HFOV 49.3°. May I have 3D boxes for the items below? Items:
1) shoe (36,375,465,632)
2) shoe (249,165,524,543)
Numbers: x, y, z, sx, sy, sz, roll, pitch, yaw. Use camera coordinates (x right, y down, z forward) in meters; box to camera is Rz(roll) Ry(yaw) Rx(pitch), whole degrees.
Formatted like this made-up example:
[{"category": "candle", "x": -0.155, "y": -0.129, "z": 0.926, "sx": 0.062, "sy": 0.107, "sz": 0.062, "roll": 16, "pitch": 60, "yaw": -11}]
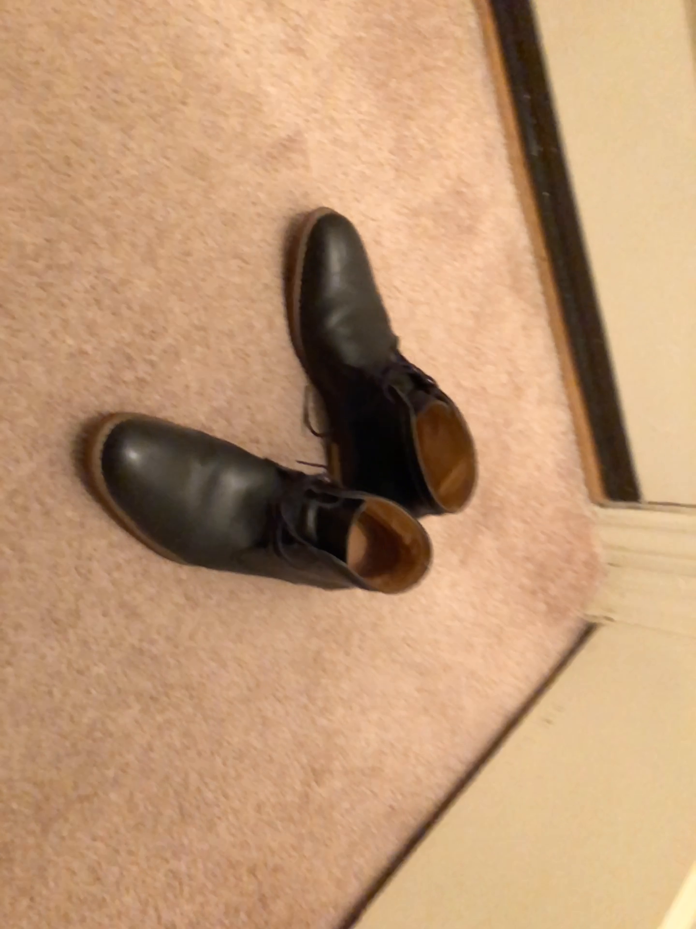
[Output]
[{"category": "shoe", "x": -0.062, "y": 0.041, "z": 0.613, "sx": 0.303, "sy": 0.135, "sz": 0.116, "roll": 23, "pitch": 77, "yaw": -41}, {"category": "shoe", "x": 0.041, "y": -0.094, "z": 0.705, "sx": 0.117, "sy": 0.135, "sz": 0.302, "roll": -32, "pitch": 113, "yaw": -37}]
